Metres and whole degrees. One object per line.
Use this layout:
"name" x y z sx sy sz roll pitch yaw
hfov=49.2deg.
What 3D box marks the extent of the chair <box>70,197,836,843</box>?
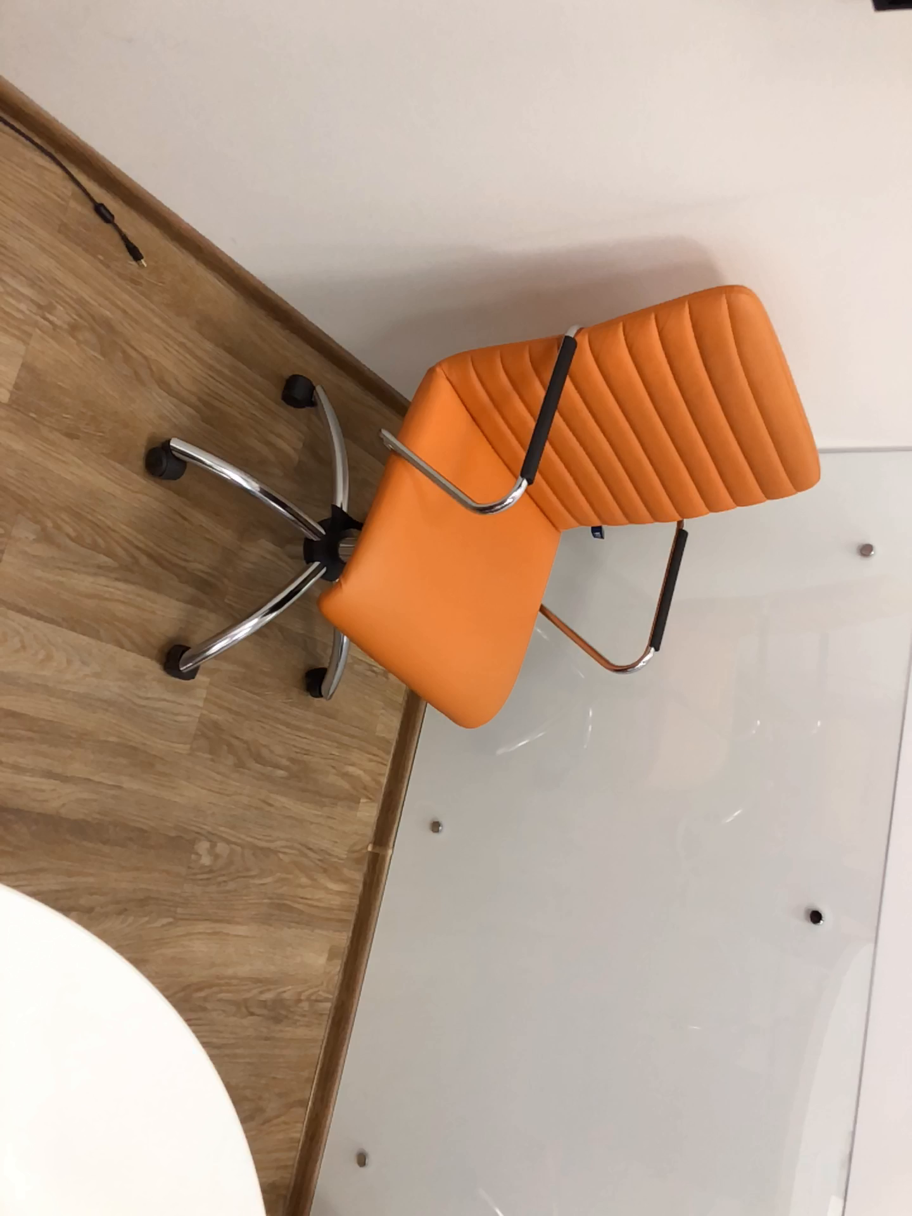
"chair" 0.027 -0.099 1.600 0.623 0.895 0.661 38 63 -50
